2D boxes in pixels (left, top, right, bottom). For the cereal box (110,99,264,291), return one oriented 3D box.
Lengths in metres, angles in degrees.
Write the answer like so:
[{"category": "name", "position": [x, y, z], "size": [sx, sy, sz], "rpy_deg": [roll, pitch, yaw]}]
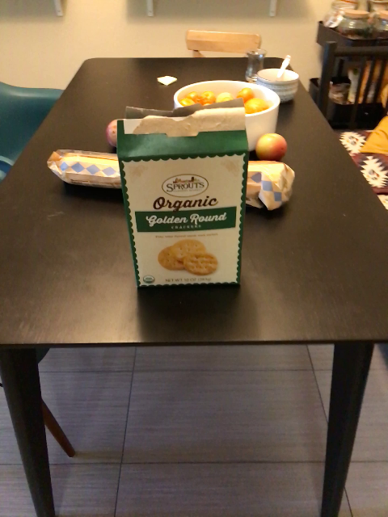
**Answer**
[{"category": "cereal box", "position": [-0.008, -0.077, 0.573], "size": [0.170, 0.248, 0.081], "rpy_deg": [-2, 39, -2]}]
